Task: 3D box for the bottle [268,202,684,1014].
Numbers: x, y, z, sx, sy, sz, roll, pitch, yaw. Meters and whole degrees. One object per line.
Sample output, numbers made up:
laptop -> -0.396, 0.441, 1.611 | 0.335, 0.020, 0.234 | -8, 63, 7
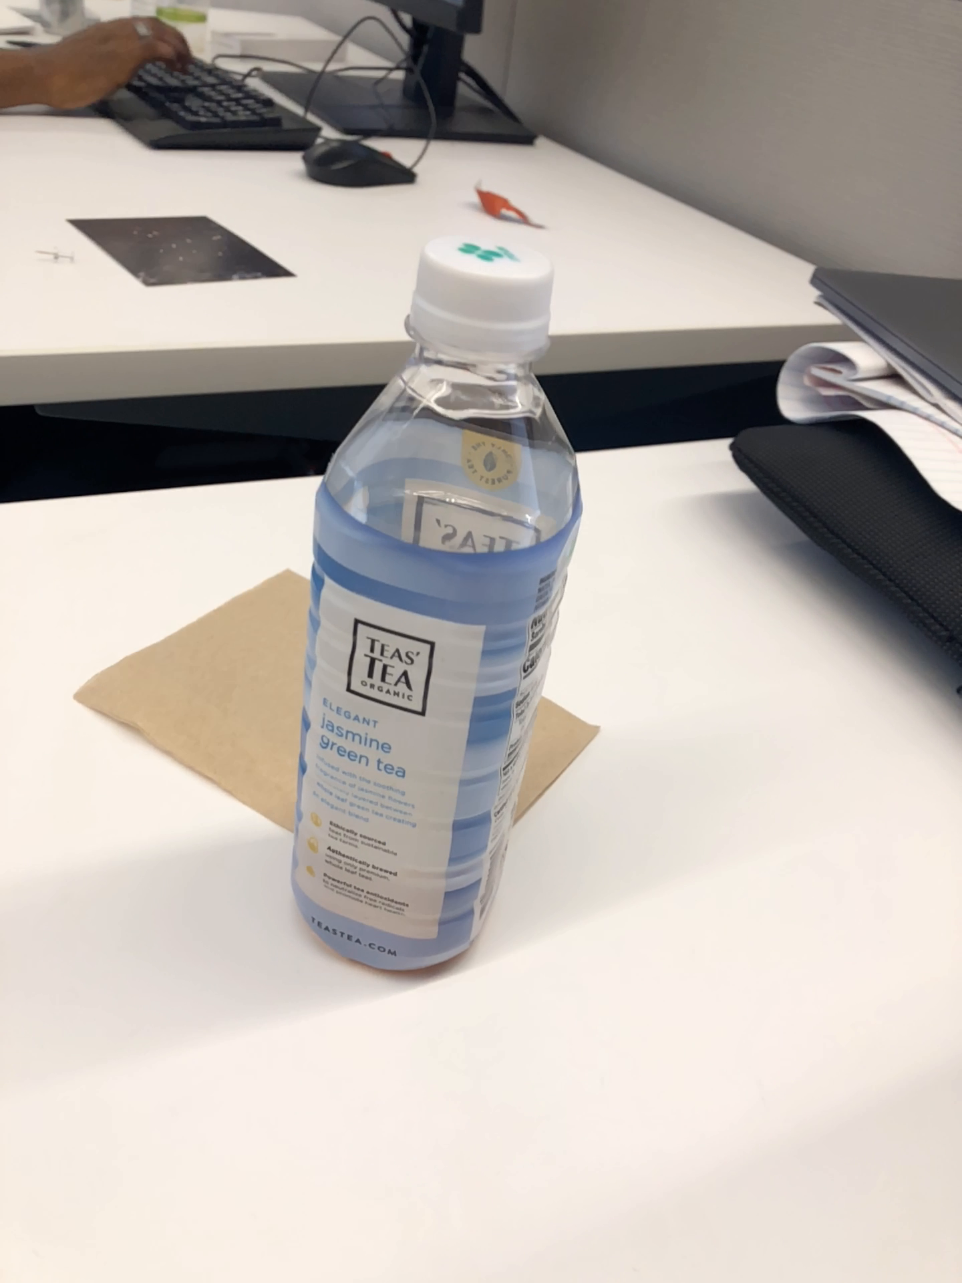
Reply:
bottle -> -0.008, -0.001, 0.302 | 0.070, 0.209, 0.070 | 7, 33, -5
